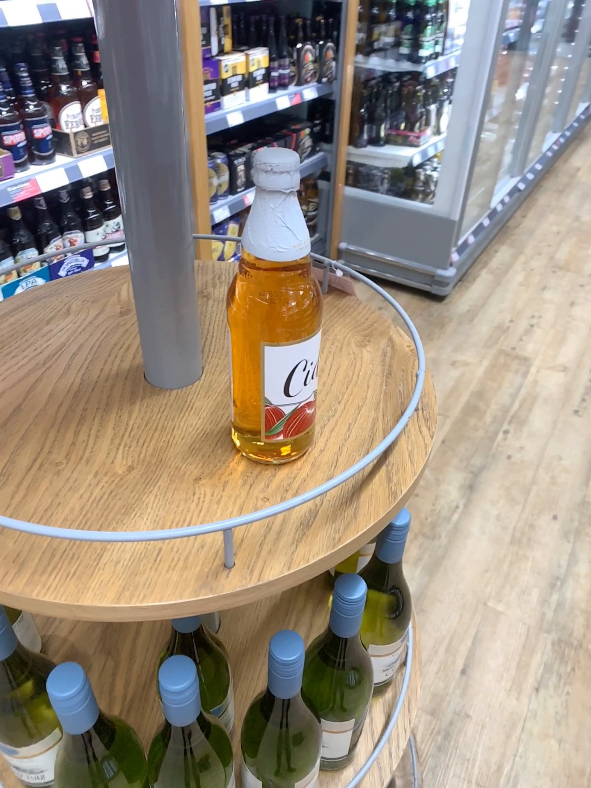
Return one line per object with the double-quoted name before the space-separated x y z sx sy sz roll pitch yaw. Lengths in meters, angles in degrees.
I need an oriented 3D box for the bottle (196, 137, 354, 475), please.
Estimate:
"bottle" -0.015 -0.055 0.429 0.070 0.218 0.070 2 37 -1
